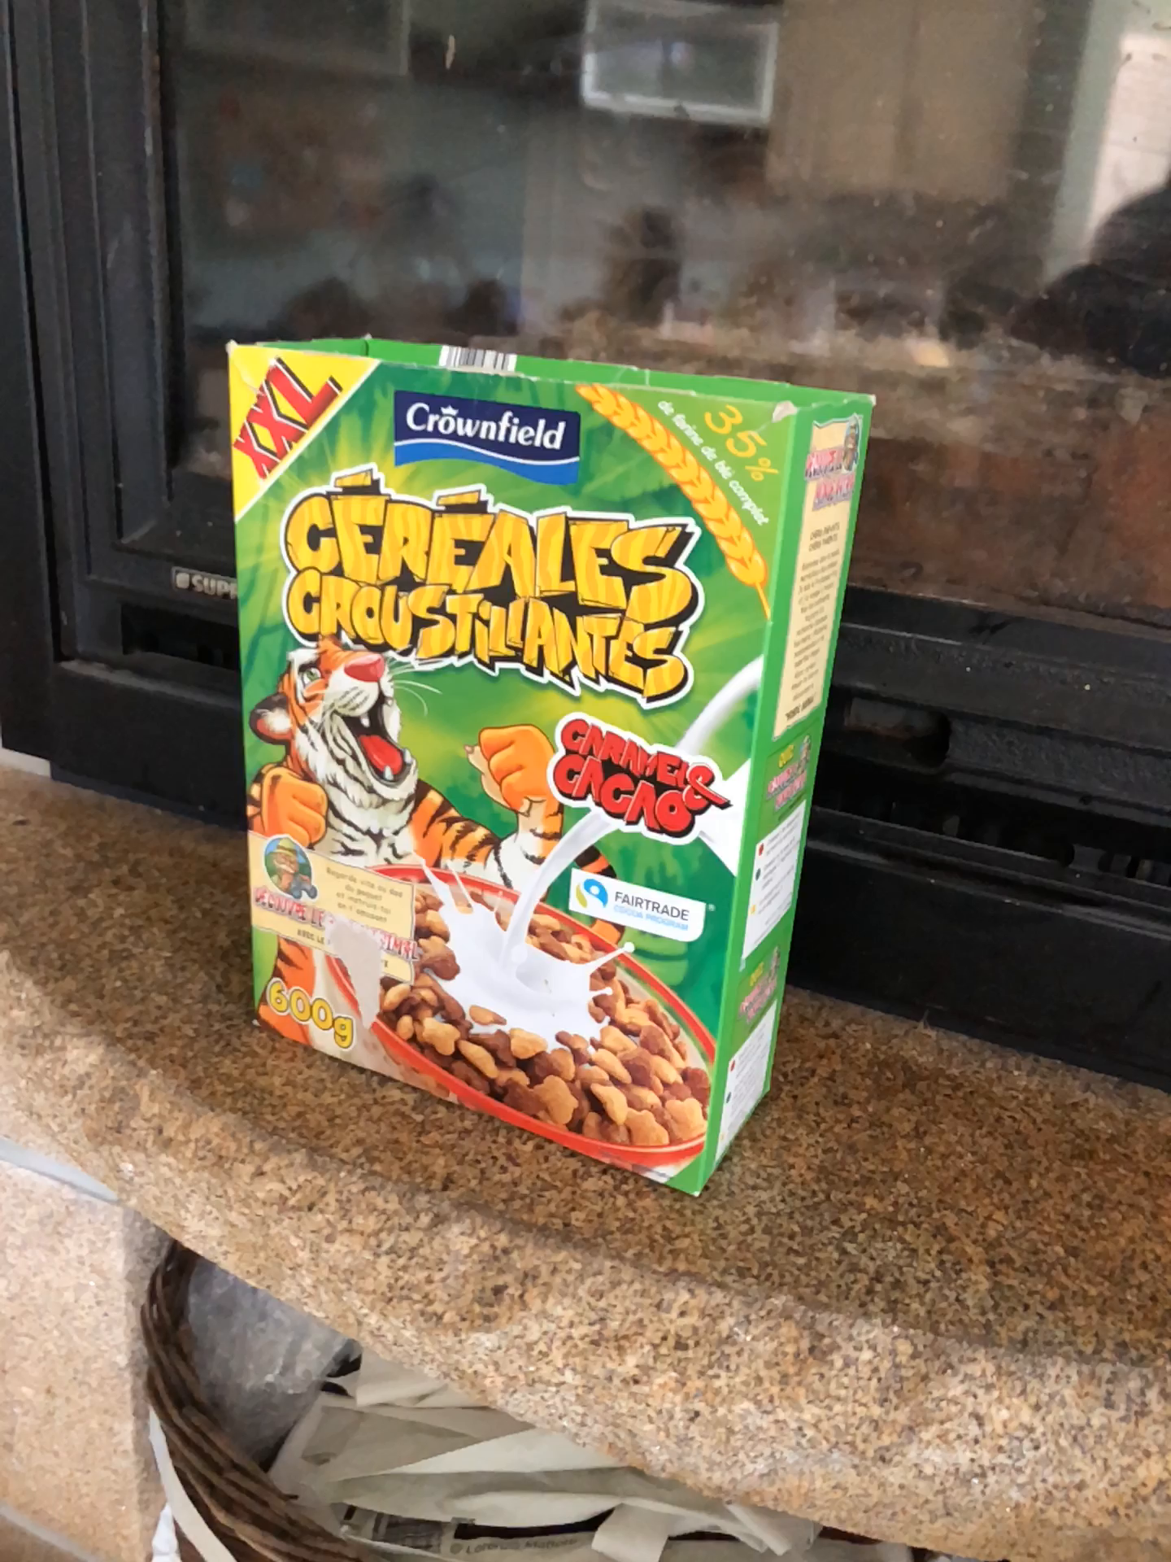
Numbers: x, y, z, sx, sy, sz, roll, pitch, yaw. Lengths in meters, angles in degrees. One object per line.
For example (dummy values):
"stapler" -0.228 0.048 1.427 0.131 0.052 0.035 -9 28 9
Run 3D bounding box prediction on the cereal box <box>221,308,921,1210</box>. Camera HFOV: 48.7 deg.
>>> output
"cereal box" -0.014 -0.018 0.449 0.200 0.259 0.091 14 22 23
